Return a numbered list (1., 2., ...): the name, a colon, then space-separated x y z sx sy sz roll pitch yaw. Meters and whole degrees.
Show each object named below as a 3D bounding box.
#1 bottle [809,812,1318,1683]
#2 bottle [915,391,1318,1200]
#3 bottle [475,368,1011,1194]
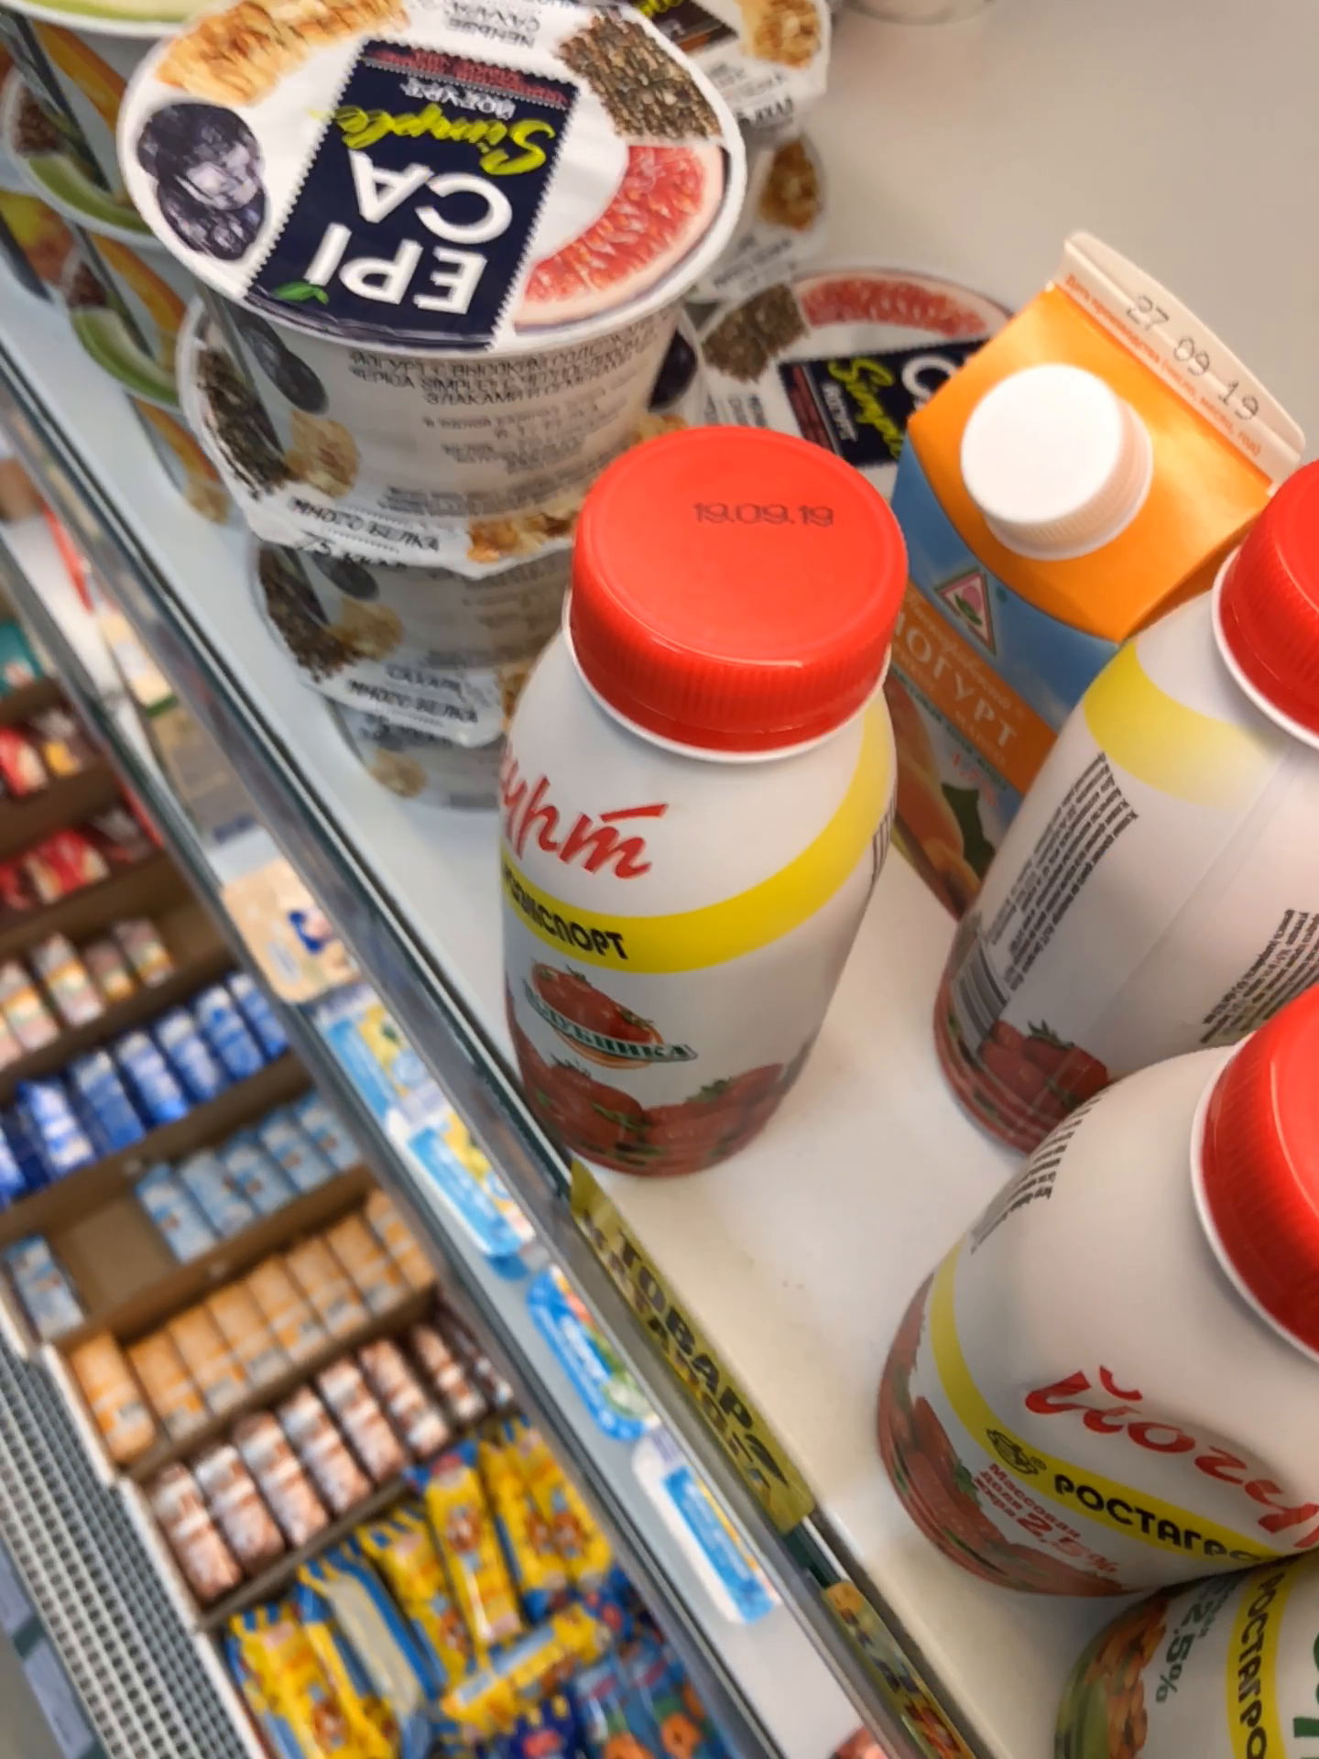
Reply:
1. bottle: 0.069 0.063 0.202 0.058 0.147 0.057 1 60 -2
2. bottle: 0.082 0.000 0.238 0.052 0.147 0.055 1 60 -2
3. bottle: 0.004 -0.002 0.235 0.056 0.147 0.058 1 60 -2
